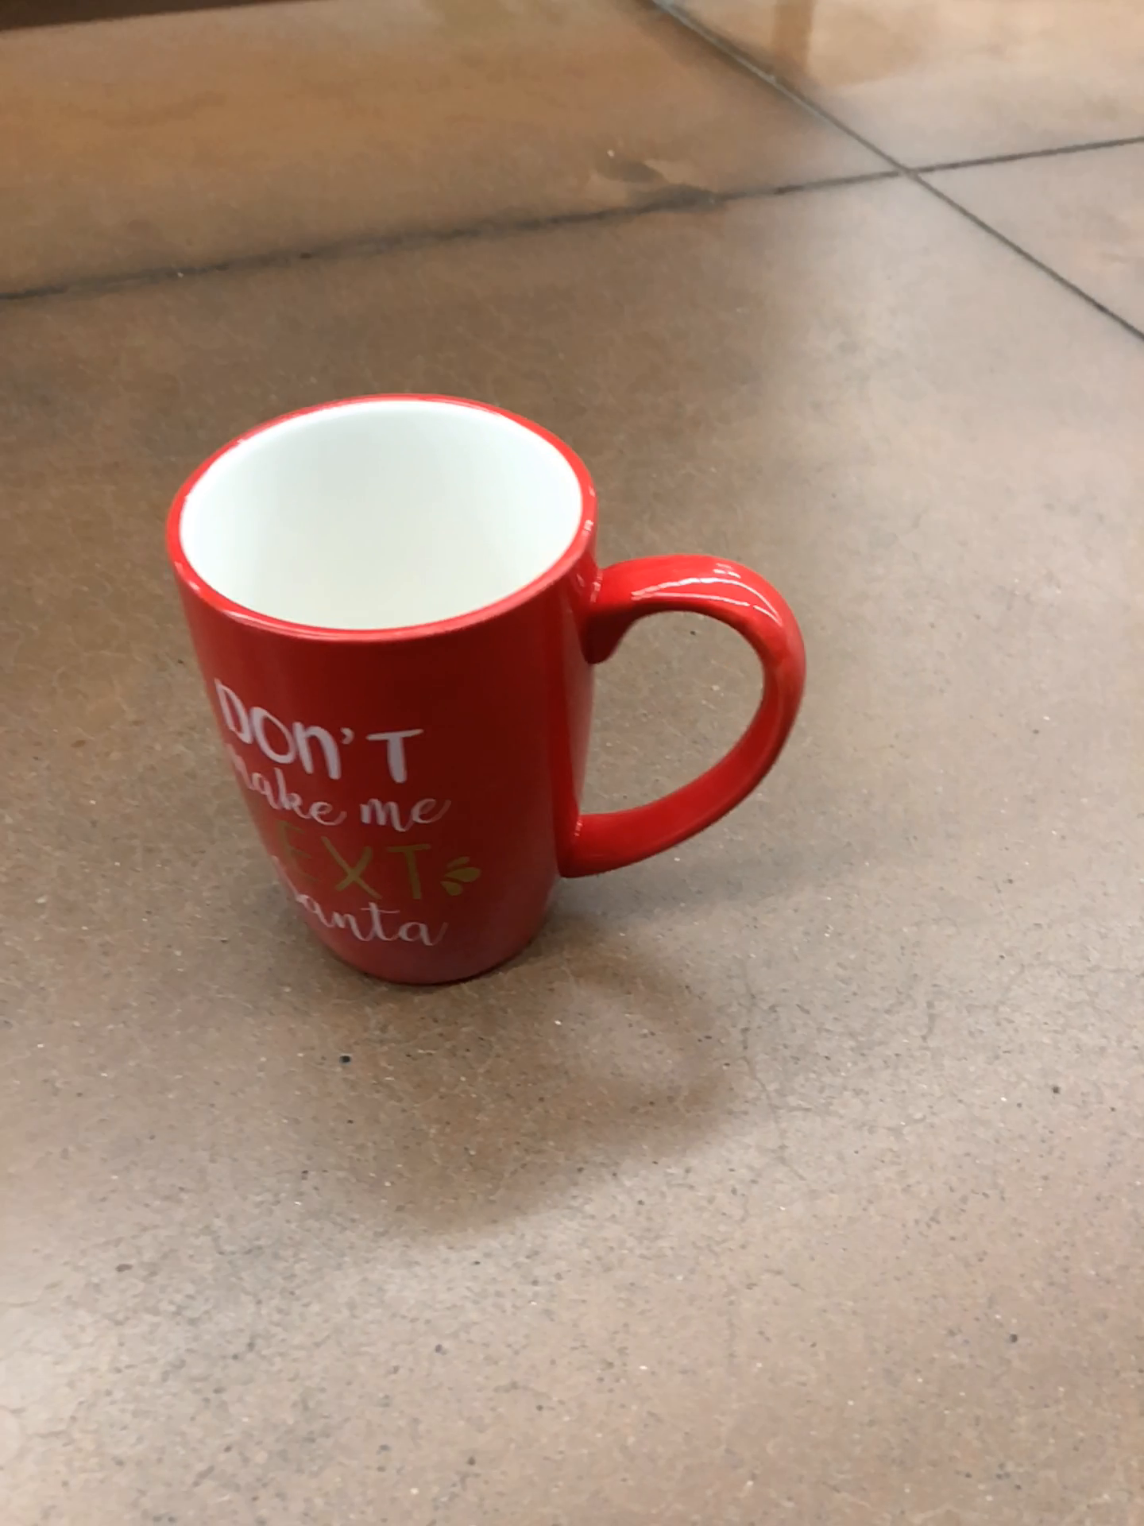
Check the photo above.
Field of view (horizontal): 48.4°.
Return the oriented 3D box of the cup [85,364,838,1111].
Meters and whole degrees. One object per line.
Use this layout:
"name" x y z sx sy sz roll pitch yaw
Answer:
"cup" -0.017 -0.006 0.303 0.130 0.130 0.090 11 46 11
